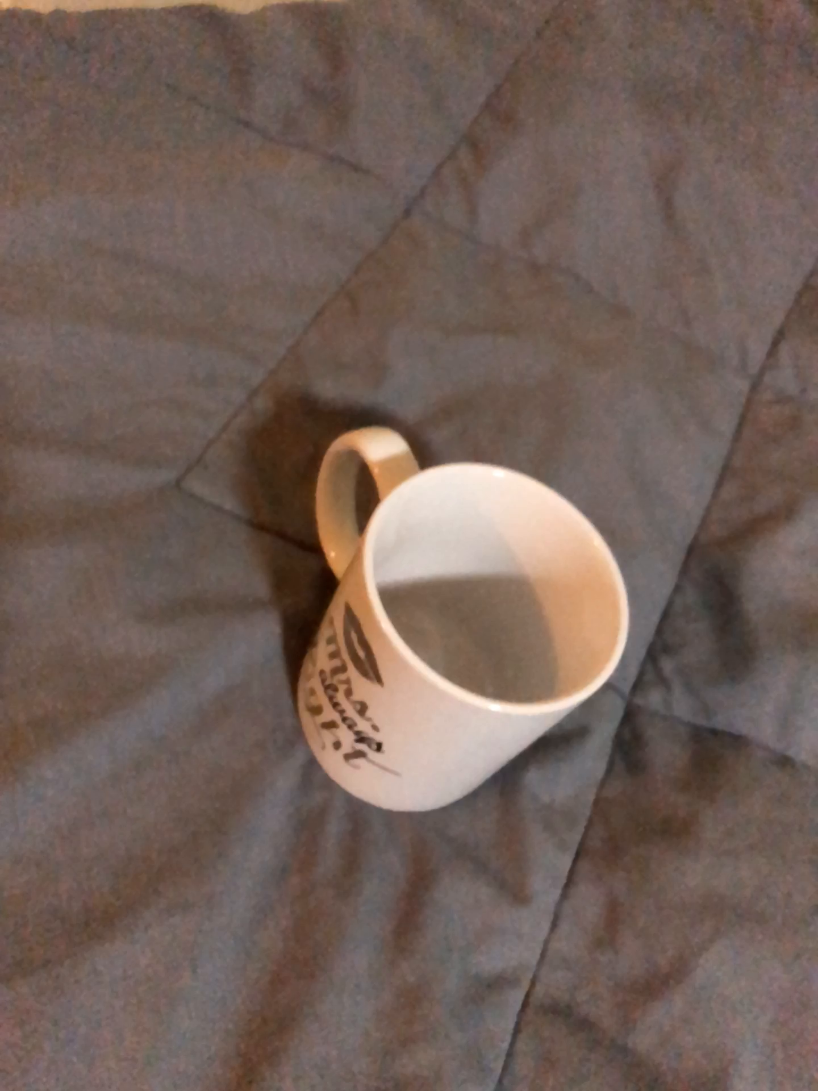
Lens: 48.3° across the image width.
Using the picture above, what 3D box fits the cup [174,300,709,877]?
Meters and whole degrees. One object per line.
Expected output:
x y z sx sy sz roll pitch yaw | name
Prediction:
-0.002 0.013 0.330 0.110 0.110 0.150 -17 66 -27 | cup
